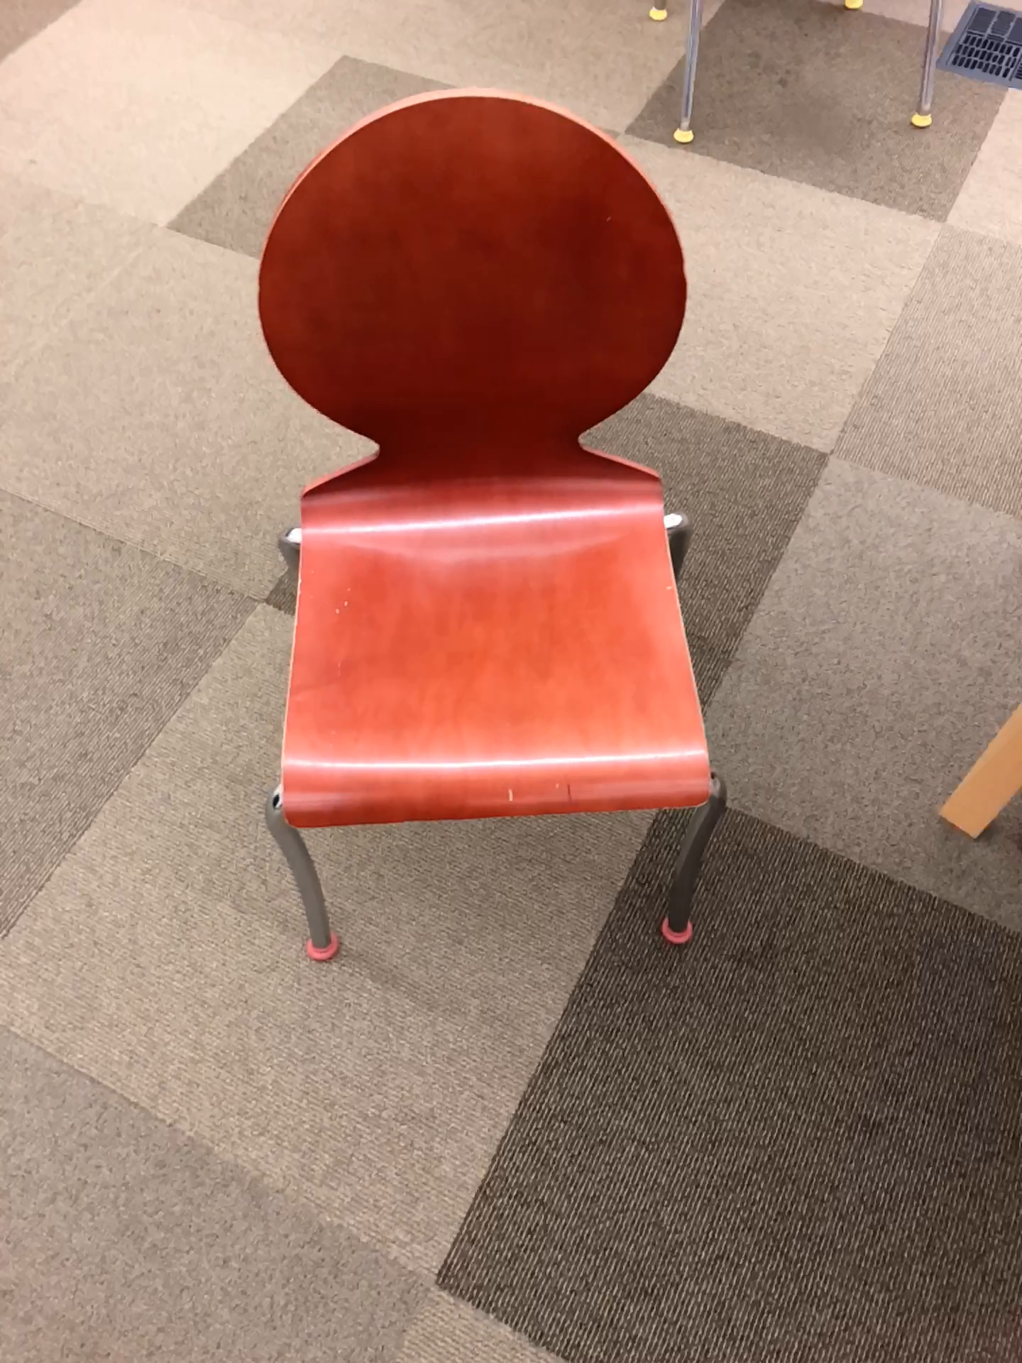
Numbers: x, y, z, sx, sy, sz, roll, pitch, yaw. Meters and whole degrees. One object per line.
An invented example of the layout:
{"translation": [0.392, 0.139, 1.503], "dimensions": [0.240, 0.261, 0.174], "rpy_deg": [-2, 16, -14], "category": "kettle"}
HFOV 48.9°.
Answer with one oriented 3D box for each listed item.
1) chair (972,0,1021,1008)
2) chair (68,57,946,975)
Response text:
{"translation": [0.847, -0.125, 1.056], "dimensions": [0.508, 0.721, 0.508], "rpy_deg": [17, 59, 11], "category": "chair"}
{"translation": [-0.009, -0.089, 1.059], "dimensions": [0.488, 0.721, 0.488], "rpy_deg": [-2, 57, -1], "category": "chair"}
